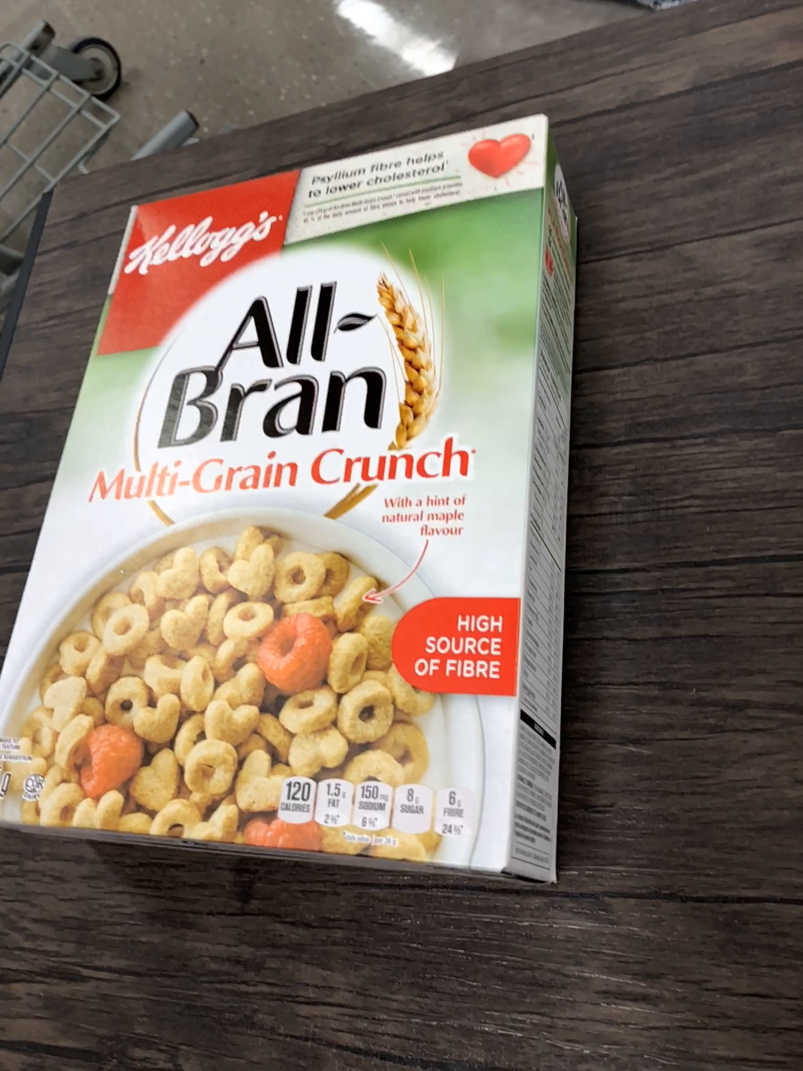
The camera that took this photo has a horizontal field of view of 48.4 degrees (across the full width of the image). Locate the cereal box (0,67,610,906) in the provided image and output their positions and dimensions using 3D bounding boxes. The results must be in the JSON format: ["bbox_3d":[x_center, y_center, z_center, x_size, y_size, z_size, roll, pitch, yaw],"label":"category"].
[{"bbox_3d":[-0.033,-0.028,0.357,0.210,0.070,0.300,-3,64,22],"label":"cereal box"}]
